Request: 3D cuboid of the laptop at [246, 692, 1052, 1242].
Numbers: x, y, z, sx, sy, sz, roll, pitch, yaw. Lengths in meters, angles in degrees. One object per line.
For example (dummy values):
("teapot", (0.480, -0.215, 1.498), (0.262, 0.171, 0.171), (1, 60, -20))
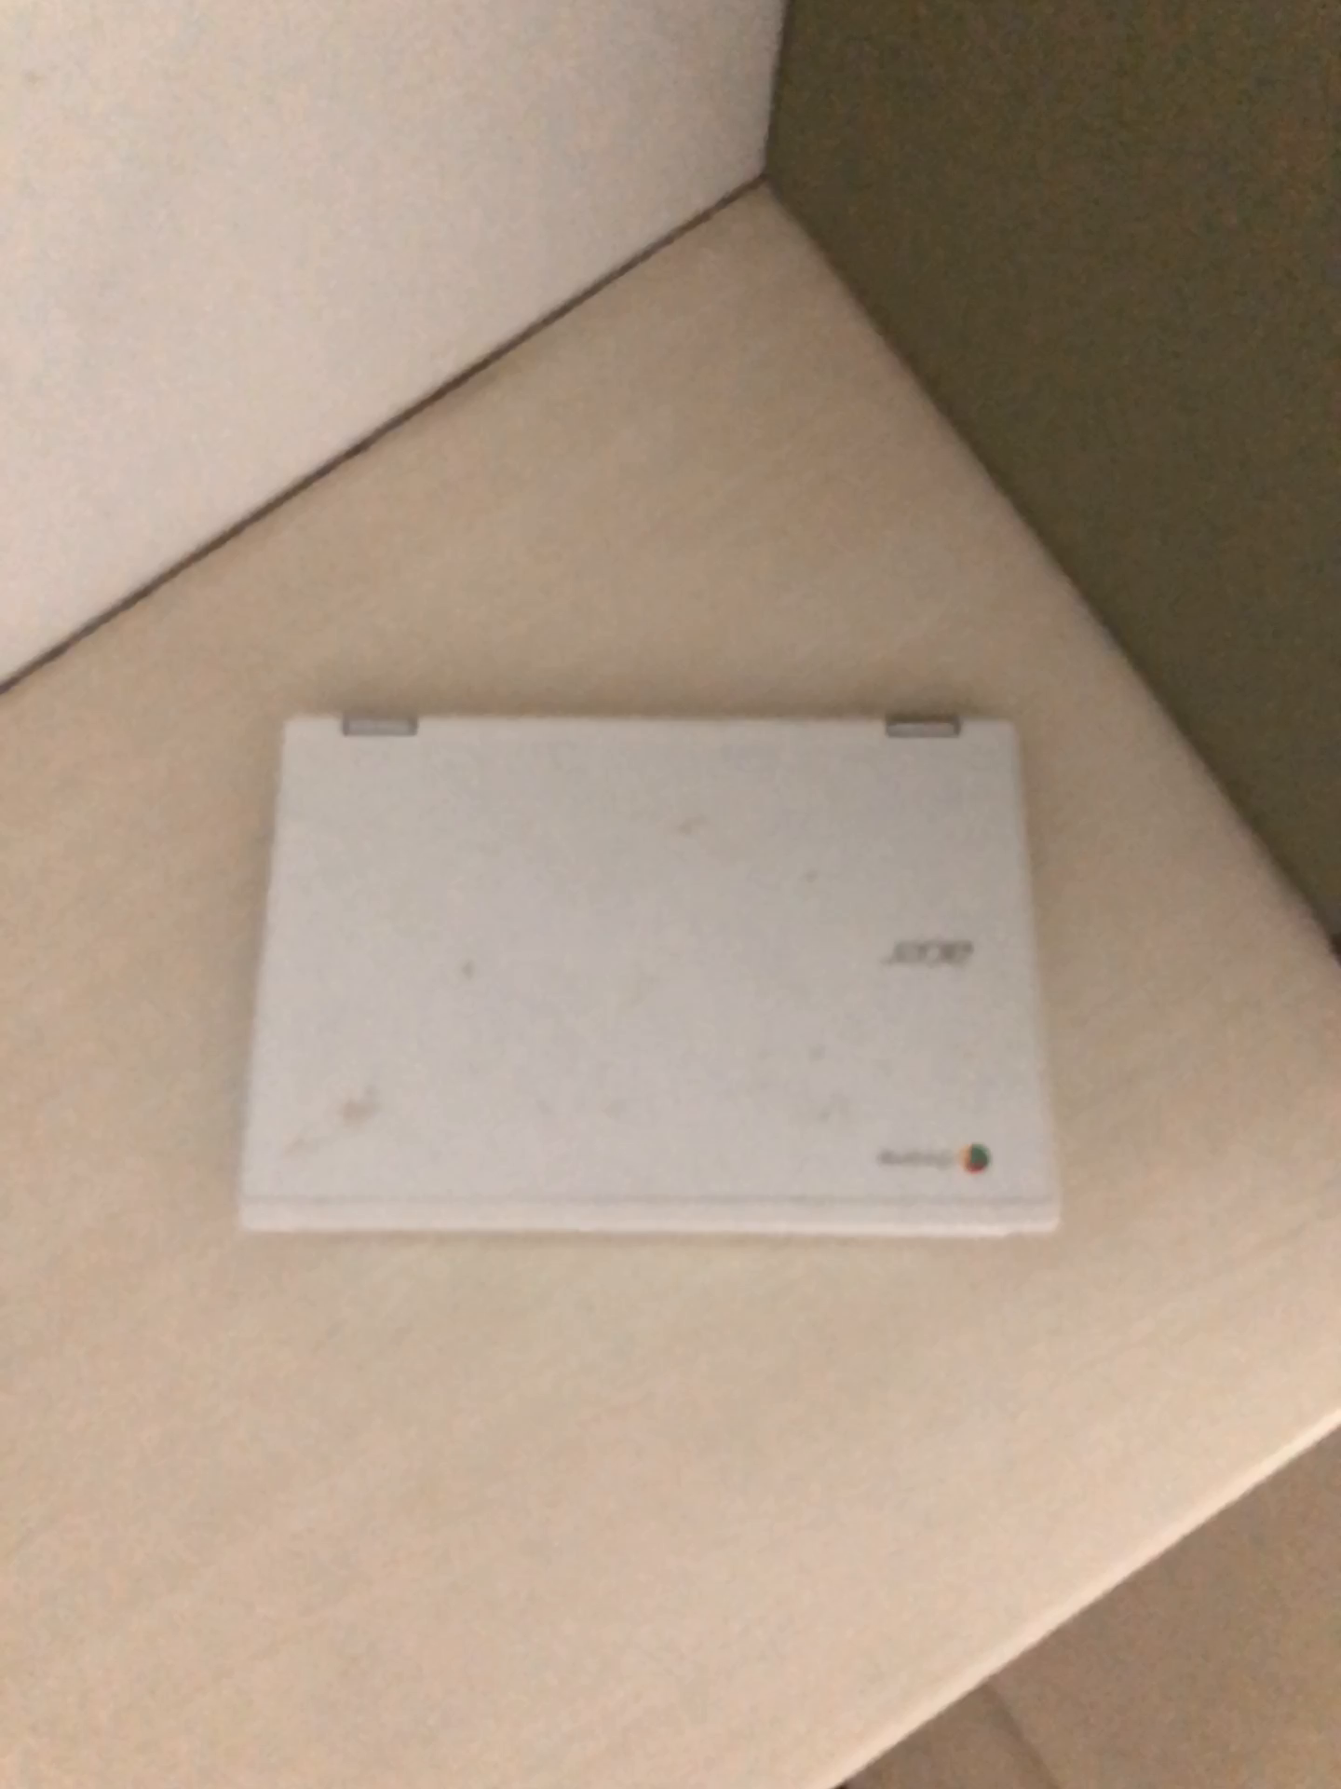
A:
("laptop", (-0.006, 0.027, 0.559), (0.282, 0.055, 0.191), (1, 86, 0))
